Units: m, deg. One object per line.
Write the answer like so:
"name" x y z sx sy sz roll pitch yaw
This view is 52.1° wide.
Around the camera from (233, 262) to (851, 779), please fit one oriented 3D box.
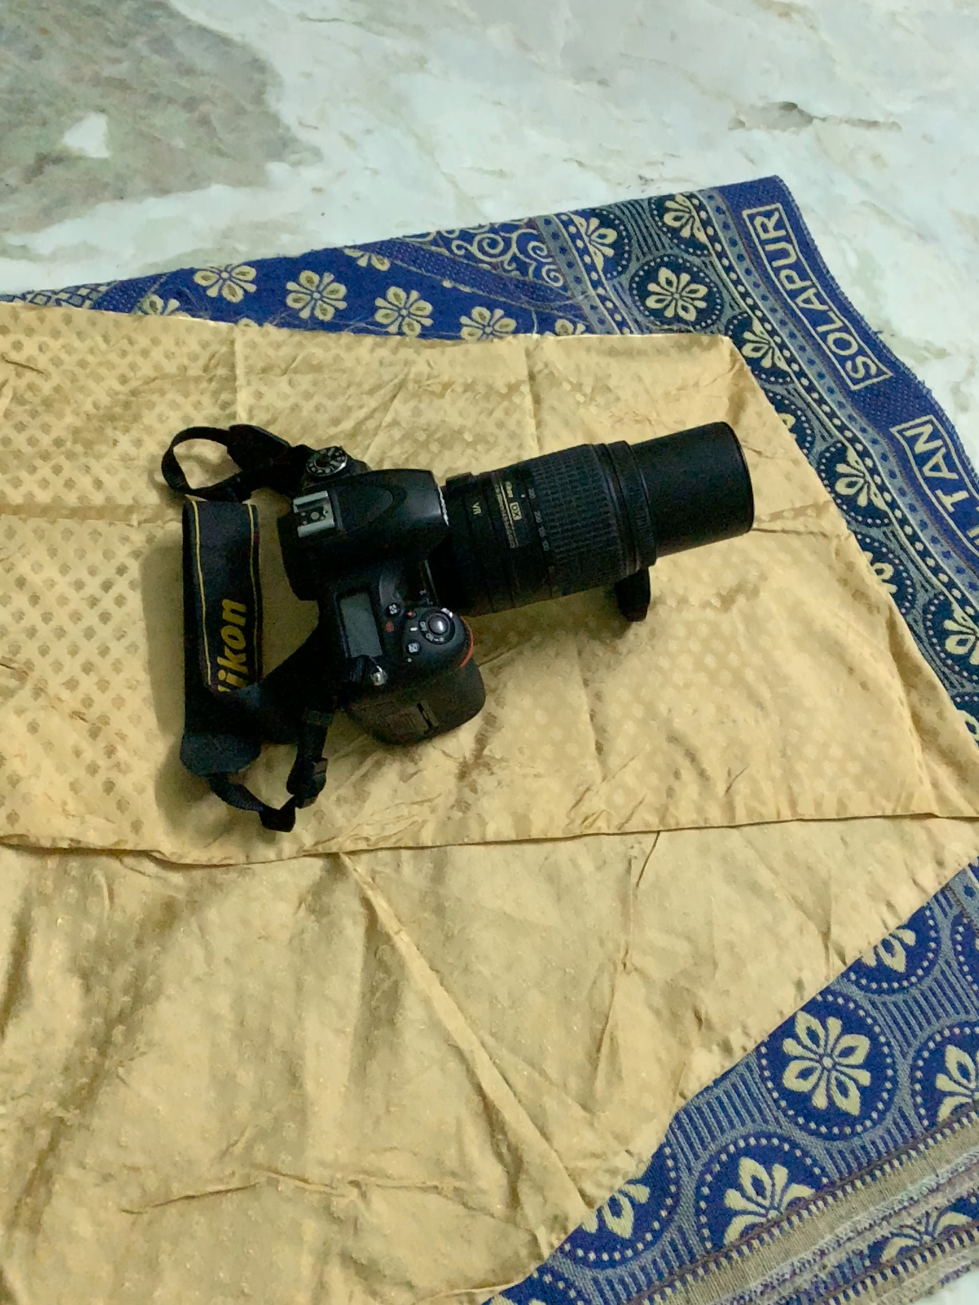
"camera" 0.020 -0.056 0.516 0.240 0.180 0.140 -14 65 -3
